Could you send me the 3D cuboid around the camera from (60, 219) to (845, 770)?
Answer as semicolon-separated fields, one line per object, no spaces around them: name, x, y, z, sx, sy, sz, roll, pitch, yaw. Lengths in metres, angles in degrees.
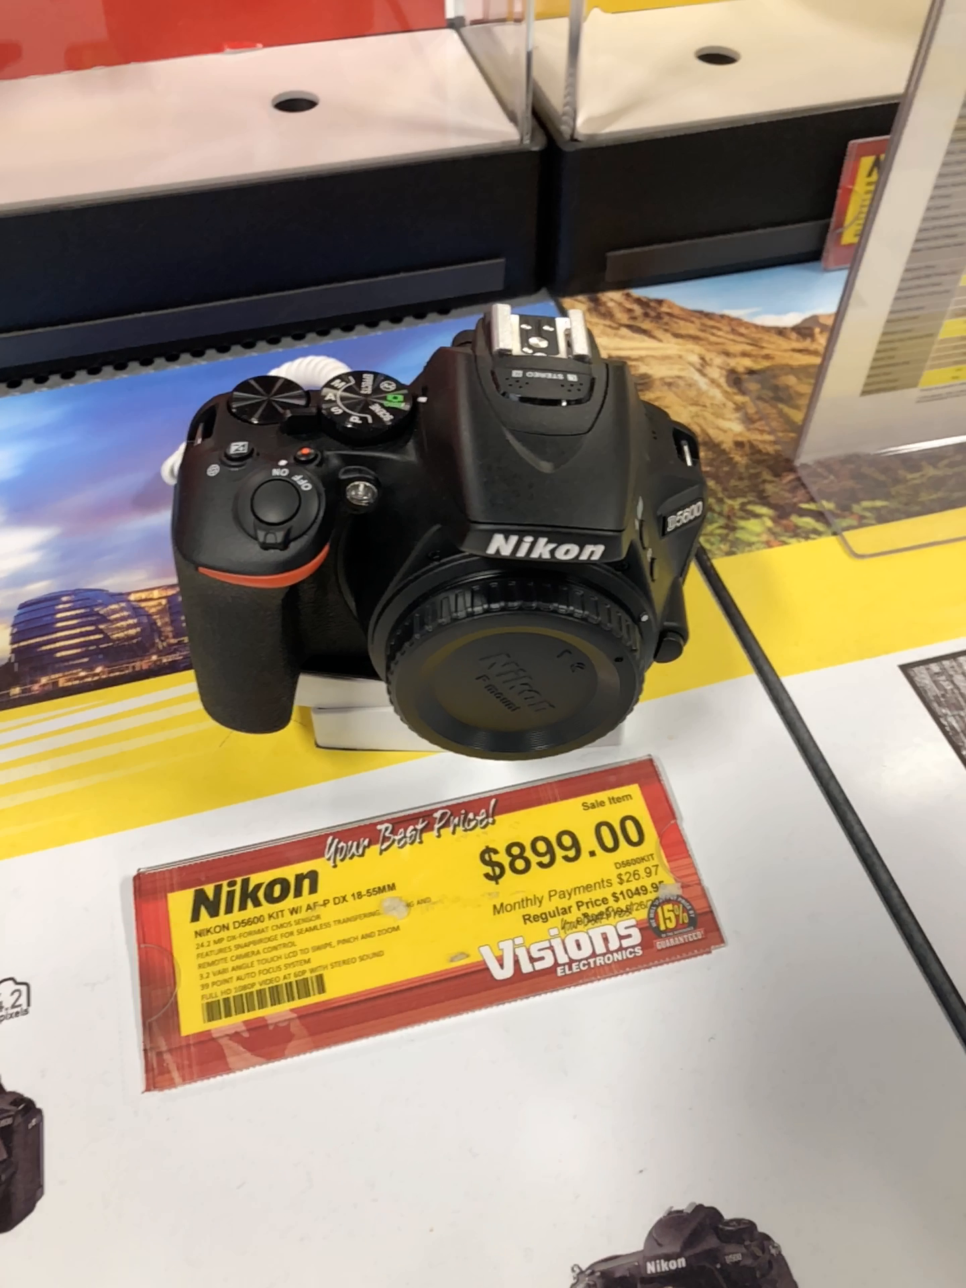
camera;-0.007;-0.032;0.251;0.140;0.089;0.080;3;48;-3
